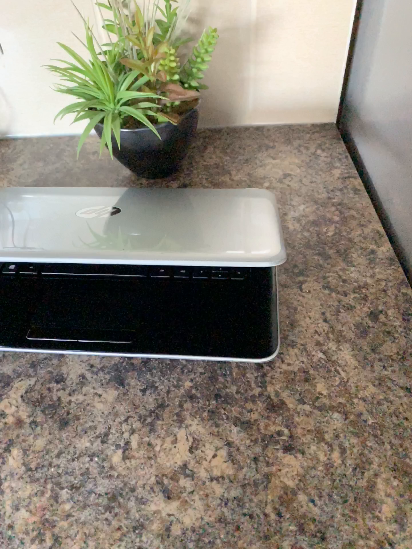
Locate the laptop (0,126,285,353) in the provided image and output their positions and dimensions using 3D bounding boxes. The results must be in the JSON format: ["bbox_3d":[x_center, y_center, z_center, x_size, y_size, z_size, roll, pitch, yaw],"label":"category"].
[{"bbox_3d":[-0.099,-0.045,0.395,0.328,0.081,0.208,1,47,6],"label":"laptop"}]
